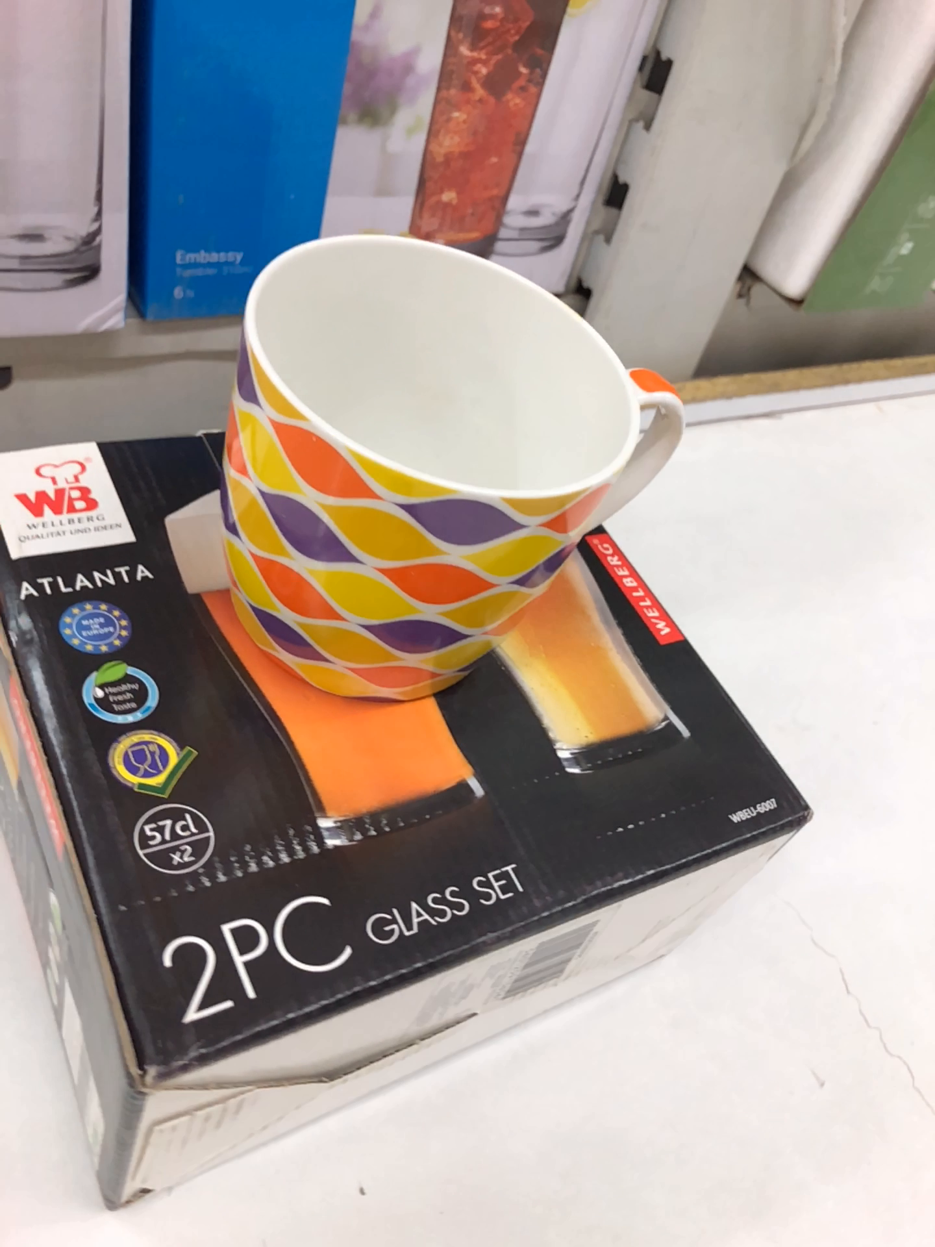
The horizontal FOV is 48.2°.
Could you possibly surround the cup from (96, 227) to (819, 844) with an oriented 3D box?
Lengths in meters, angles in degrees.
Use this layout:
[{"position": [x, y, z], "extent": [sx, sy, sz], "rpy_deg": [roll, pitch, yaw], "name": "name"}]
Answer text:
[{"position": [-0.009, -0.028, 0.253], "extent": [0.131, 0.089, 0.090], "rpy_deg": [-15, 54, -30], "name": "cup"}]
